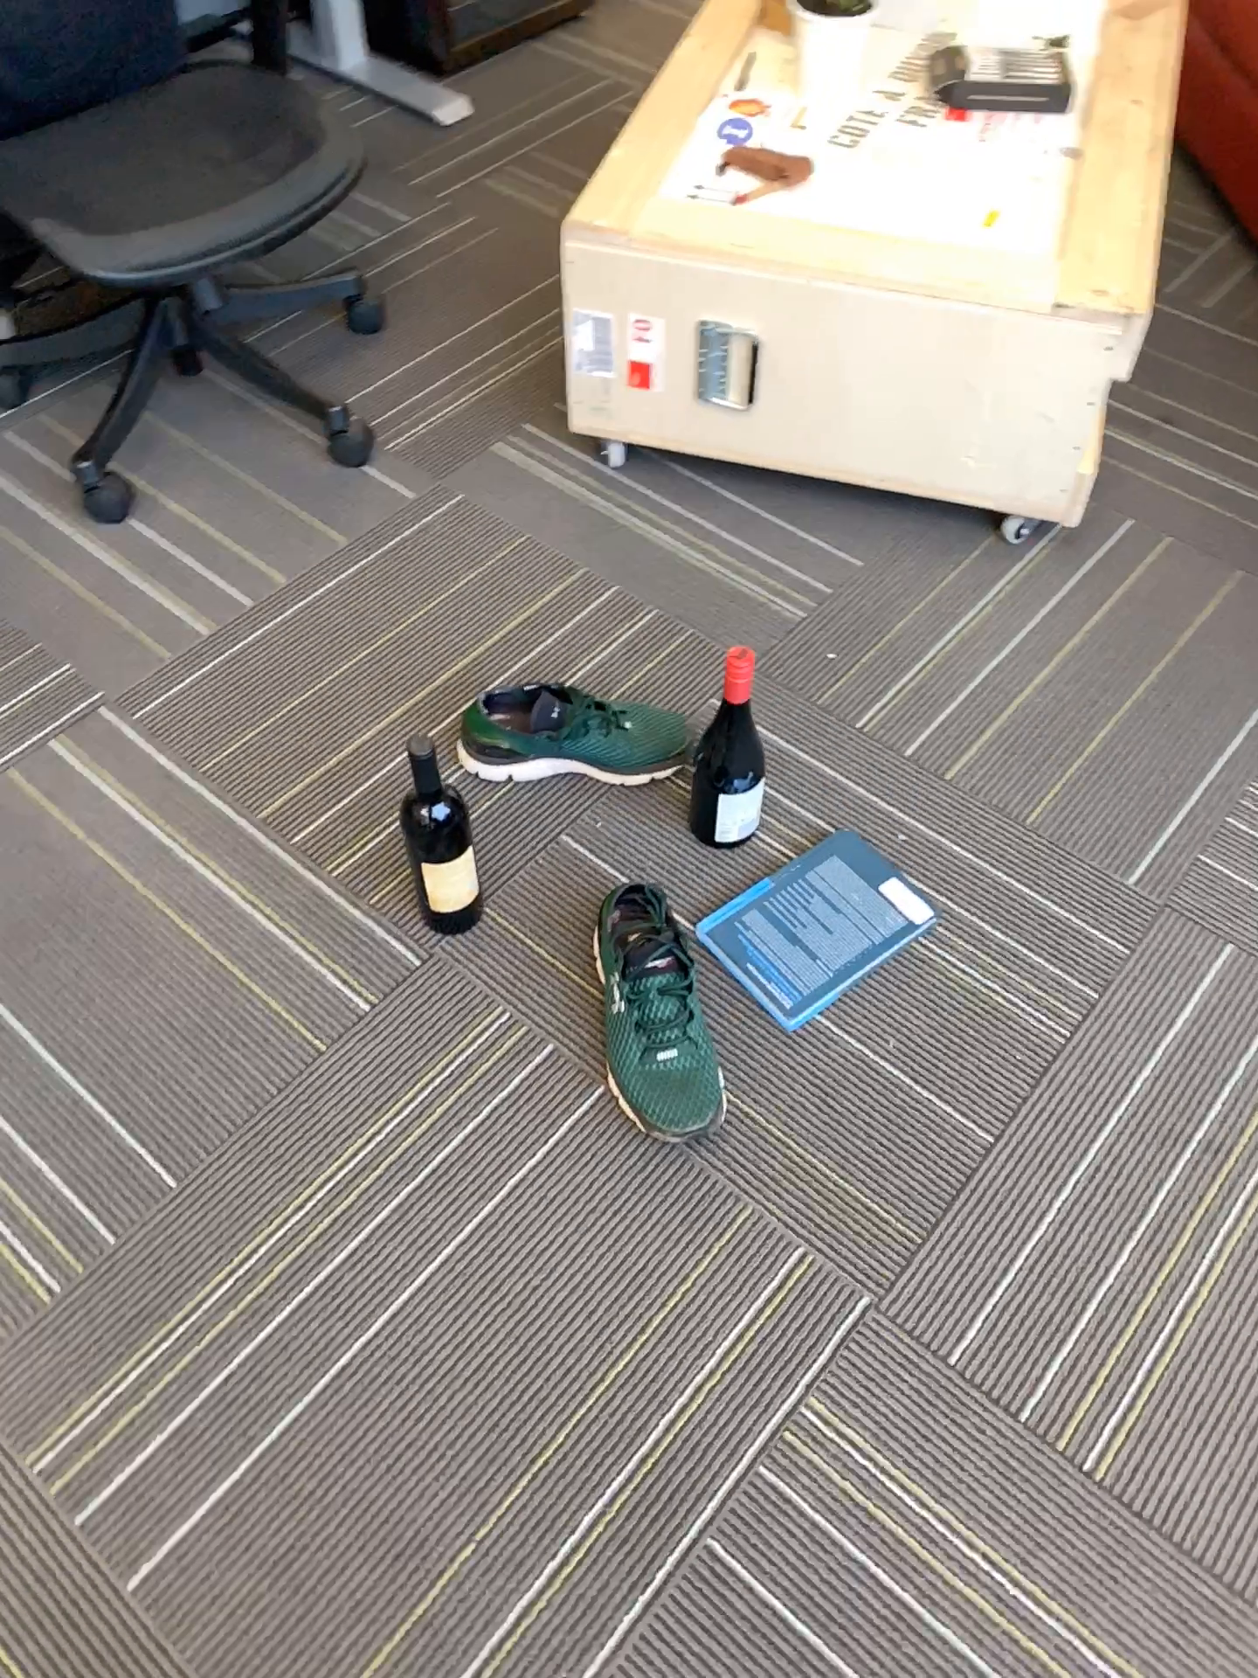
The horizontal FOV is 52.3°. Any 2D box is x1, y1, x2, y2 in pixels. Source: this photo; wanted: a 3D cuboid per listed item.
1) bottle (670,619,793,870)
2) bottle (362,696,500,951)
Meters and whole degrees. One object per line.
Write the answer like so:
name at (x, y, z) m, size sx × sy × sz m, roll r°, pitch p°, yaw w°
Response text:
bottle at (0.109, -0.098, 1.435) m, size 0.080 × 0.289 × 0.090 m, roll -31°, pitch 59°, yaw -21°
bottle at (-0.204, -0.008, 1.355) m, size 0.080 × 0.289 × 0.090 m, roll -24°, pitch 57°, yaw -17°
